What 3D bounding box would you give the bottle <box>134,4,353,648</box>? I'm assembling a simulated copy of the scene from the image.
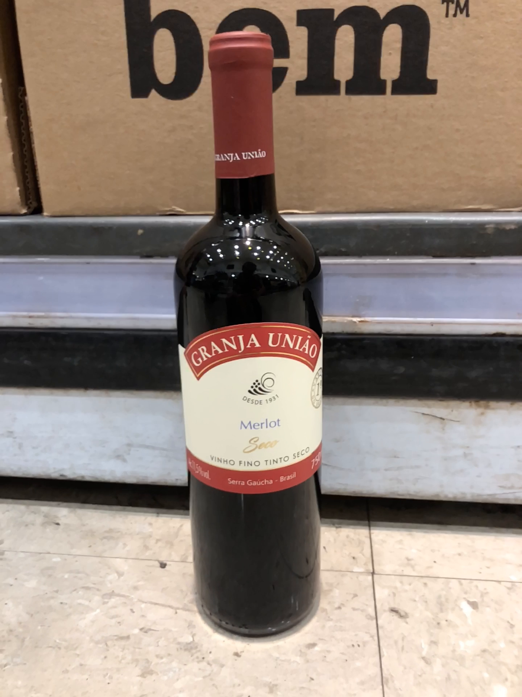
[{"bbox_3d":[-0.005,0.002,0.299,0.080,0.298,0.081,-1,19,0],"label":"bottle"}]
